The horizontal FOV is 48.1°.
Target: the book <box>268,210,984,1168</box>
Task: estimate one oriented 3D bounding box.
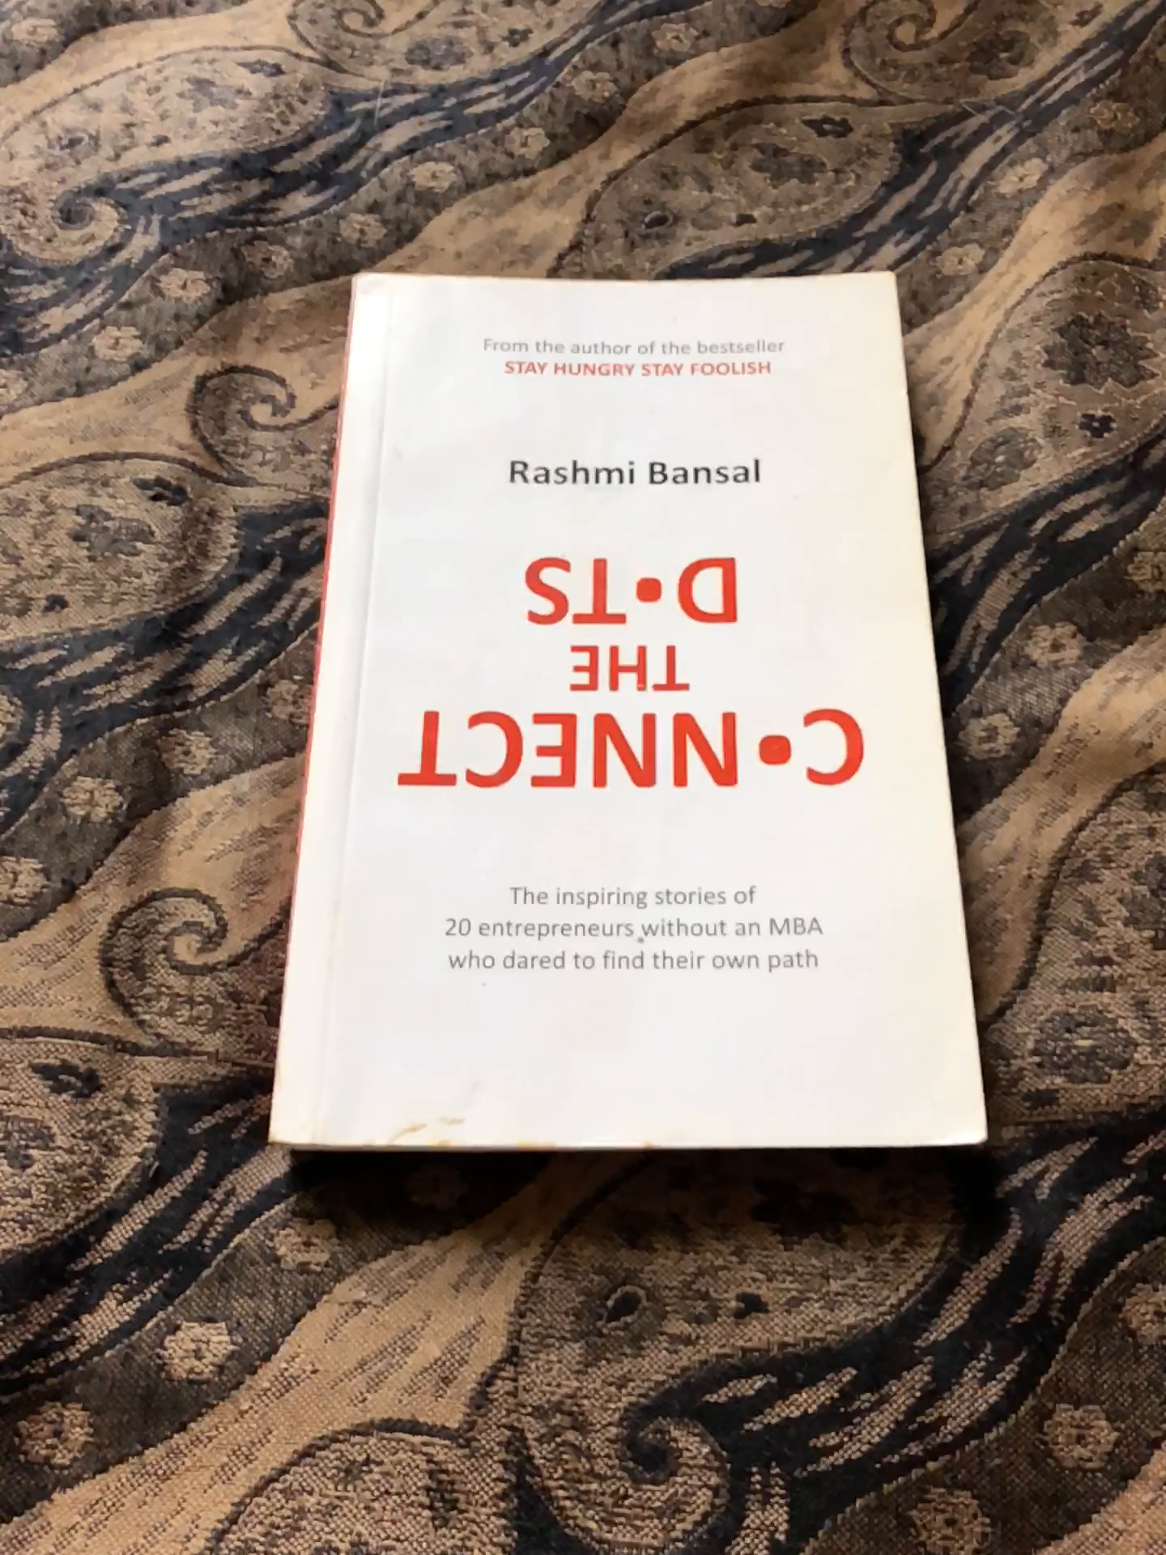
[{"bbox_3d":[0.009,-0.027,0.298,0.130,0.040,0.220,-1,67,4],"label":"book"}]
